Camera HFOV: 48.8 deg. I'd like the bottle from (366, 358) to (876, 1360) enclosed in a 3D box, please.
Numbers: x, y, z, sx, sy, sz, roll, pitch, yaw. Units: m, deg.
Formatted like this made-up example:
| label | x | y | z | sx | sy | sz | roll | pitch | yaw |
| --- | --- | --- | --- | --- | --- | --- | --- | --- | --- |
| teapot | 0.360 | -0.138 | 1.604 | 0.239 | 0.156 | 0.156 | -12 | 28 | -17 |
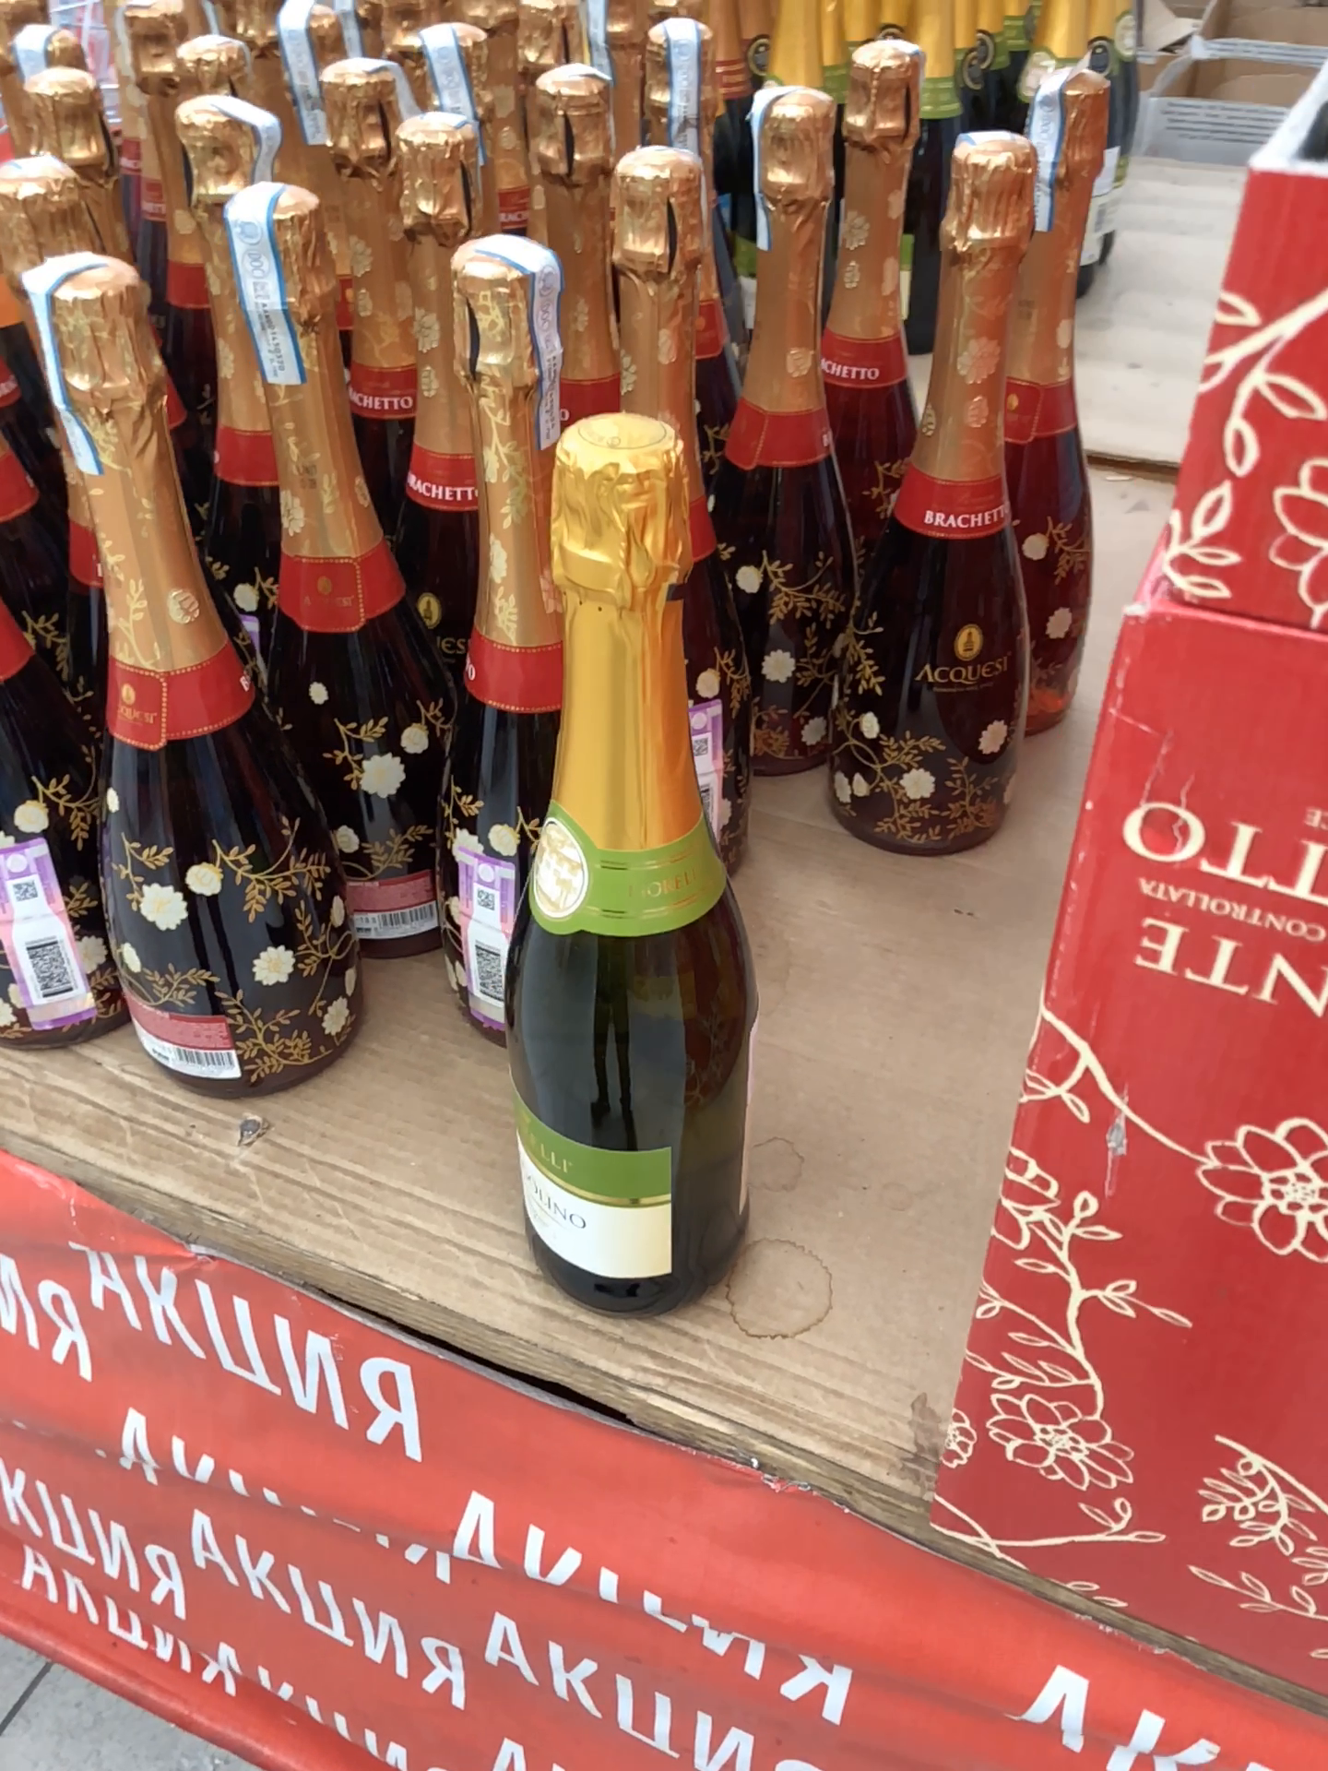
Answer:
| label | x | y | z | sx | sy | sz | roll | pitch | yaw |
| --- | --- | --- | --- | --- | --- | --- | --- | --- | --- |
| bottle | -0.011 | 0.007 | 0.444 | 0.090 | 0.288 | 0.090 | 0 | 39 | 0 |
